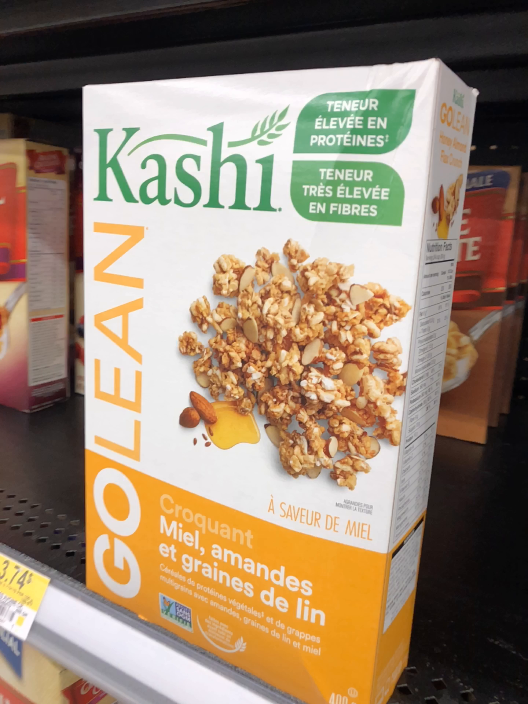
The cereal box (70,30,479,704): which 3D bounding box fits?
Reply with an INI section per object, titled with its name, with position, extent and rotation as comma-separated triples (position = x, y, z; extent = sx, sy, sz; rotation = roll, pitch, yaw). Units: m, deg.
[cereal box]
position = -0.010, 0.012, 0.276
extent = 0.170, 0.269, 0.050
rotation = 11, 15, 31
